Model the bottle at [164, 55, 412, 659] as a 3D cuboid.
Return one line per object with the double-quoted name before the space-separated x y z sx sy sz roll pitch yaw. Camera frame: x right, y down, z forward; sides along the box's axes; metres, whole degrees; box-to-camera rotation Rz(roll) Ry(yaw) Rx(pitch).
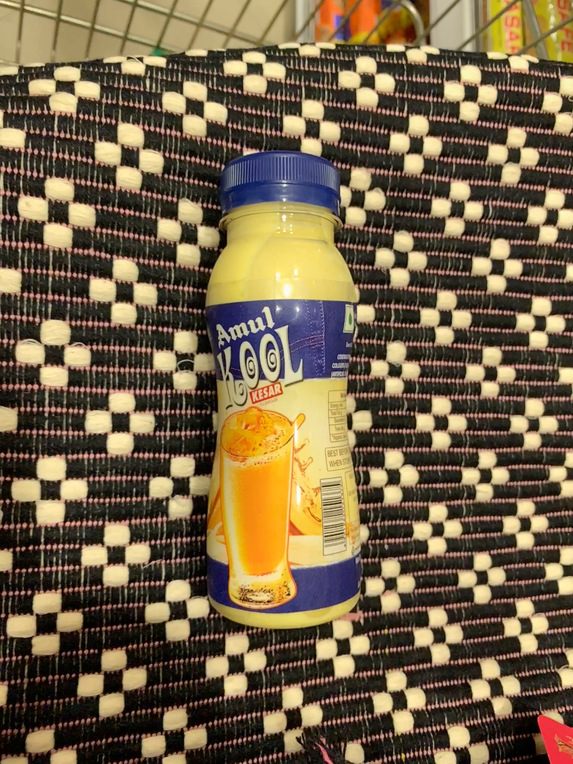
"bottle" 0.003 -0.006 0.199 0.060 0.060 0.160 6 83 -63
